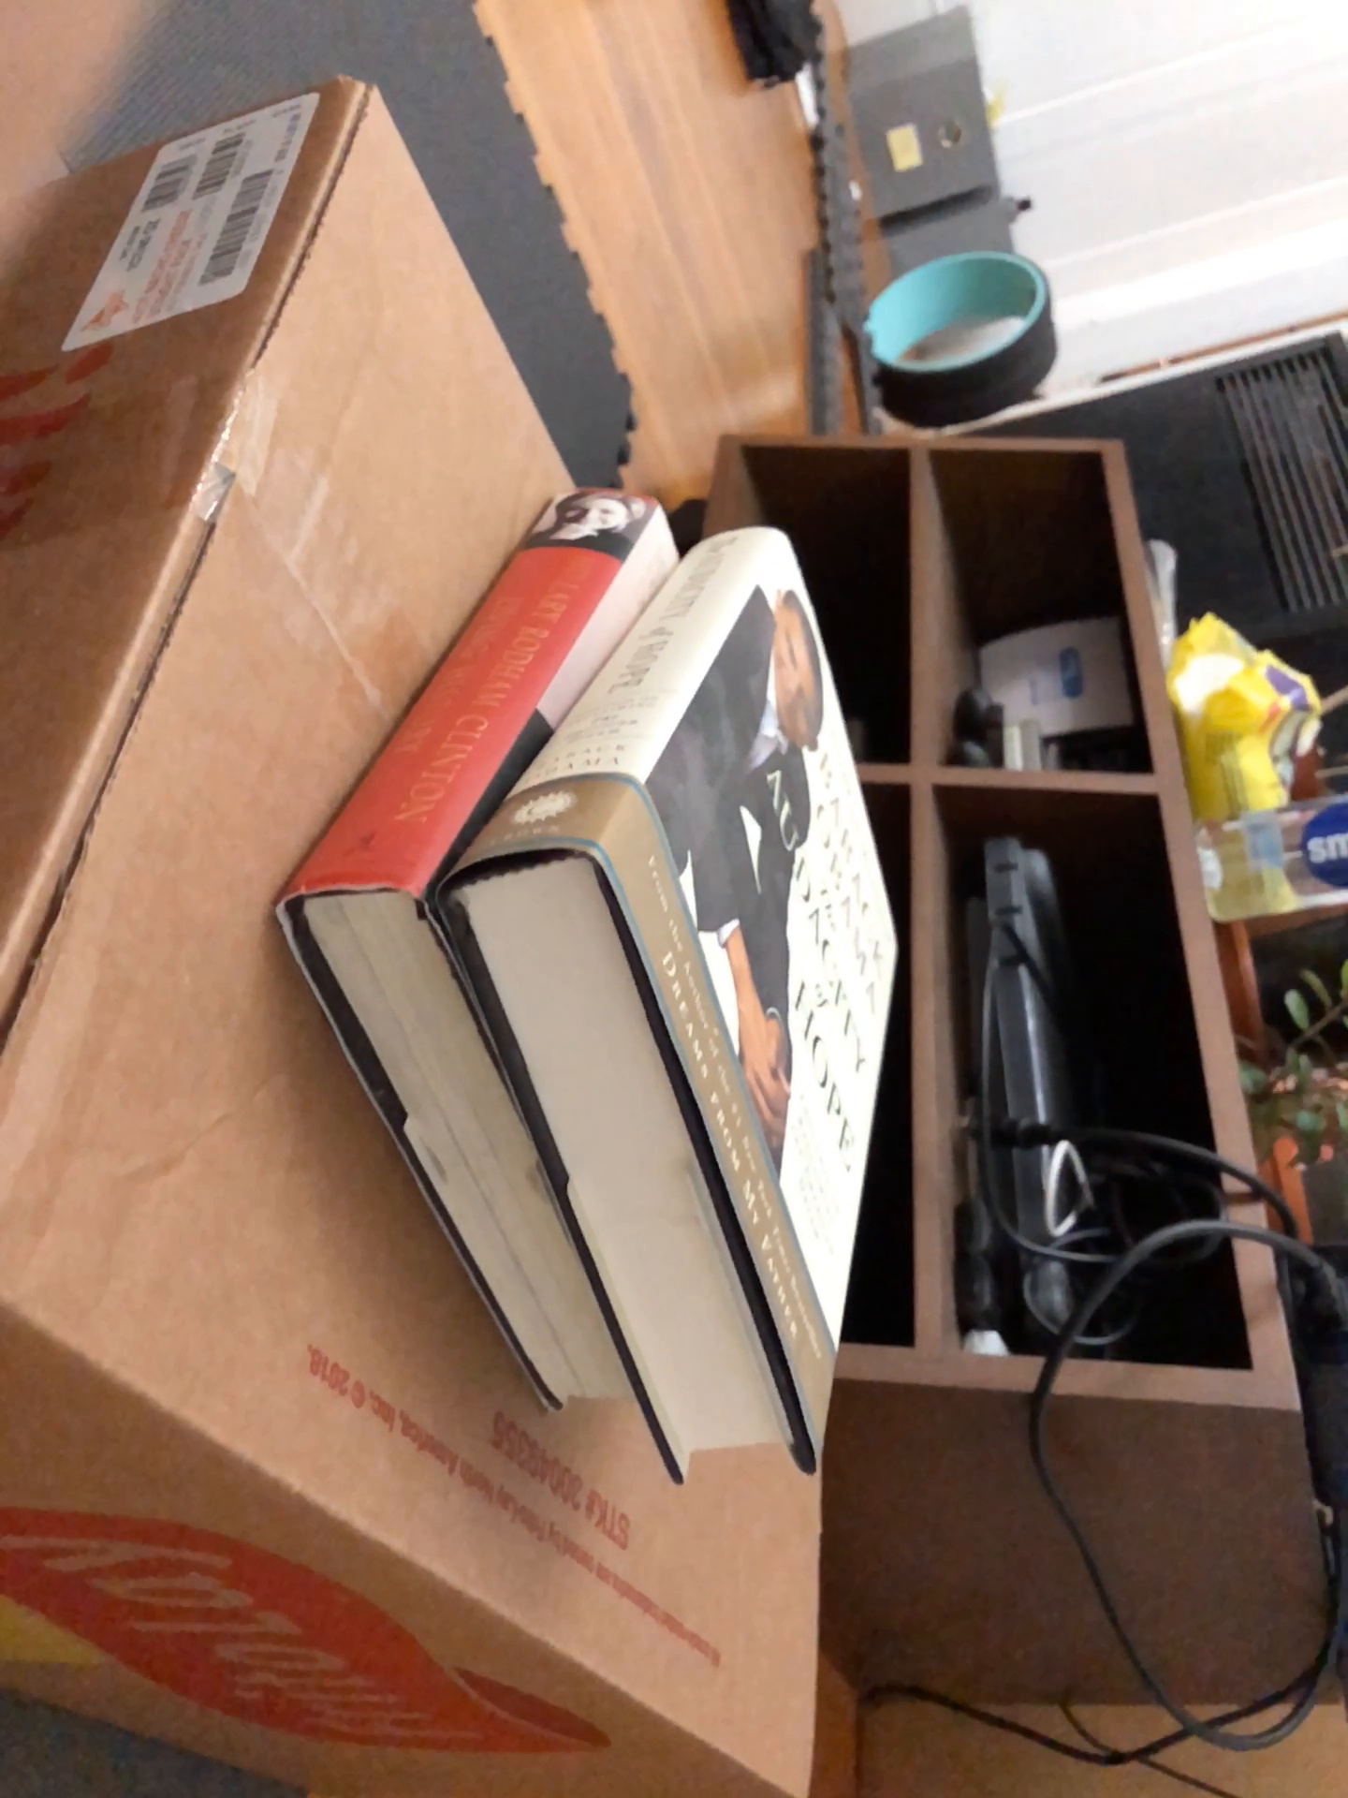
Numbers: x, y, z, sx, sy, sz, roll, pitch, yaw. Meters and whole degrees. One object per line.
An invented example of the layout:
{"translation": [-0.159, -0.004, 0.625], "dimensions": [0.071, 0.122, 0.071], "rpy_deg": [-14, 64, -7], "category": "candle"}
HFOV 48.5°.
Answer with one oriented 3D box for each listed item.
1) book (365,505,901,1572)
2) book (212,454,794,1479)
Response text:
{"translation": [0.014, 0.016, 0.421], "dimensions": [0.251, 0.040, 0.190], "rpy_deg": [-66, 142, -60], "category": "book"}
{"translation": [-0.021, 0.000, 0.422], "dimensions": [0.251, 0.040, 0.170], "rpy_deg": [-73, 148, -54], "category": "book"}
